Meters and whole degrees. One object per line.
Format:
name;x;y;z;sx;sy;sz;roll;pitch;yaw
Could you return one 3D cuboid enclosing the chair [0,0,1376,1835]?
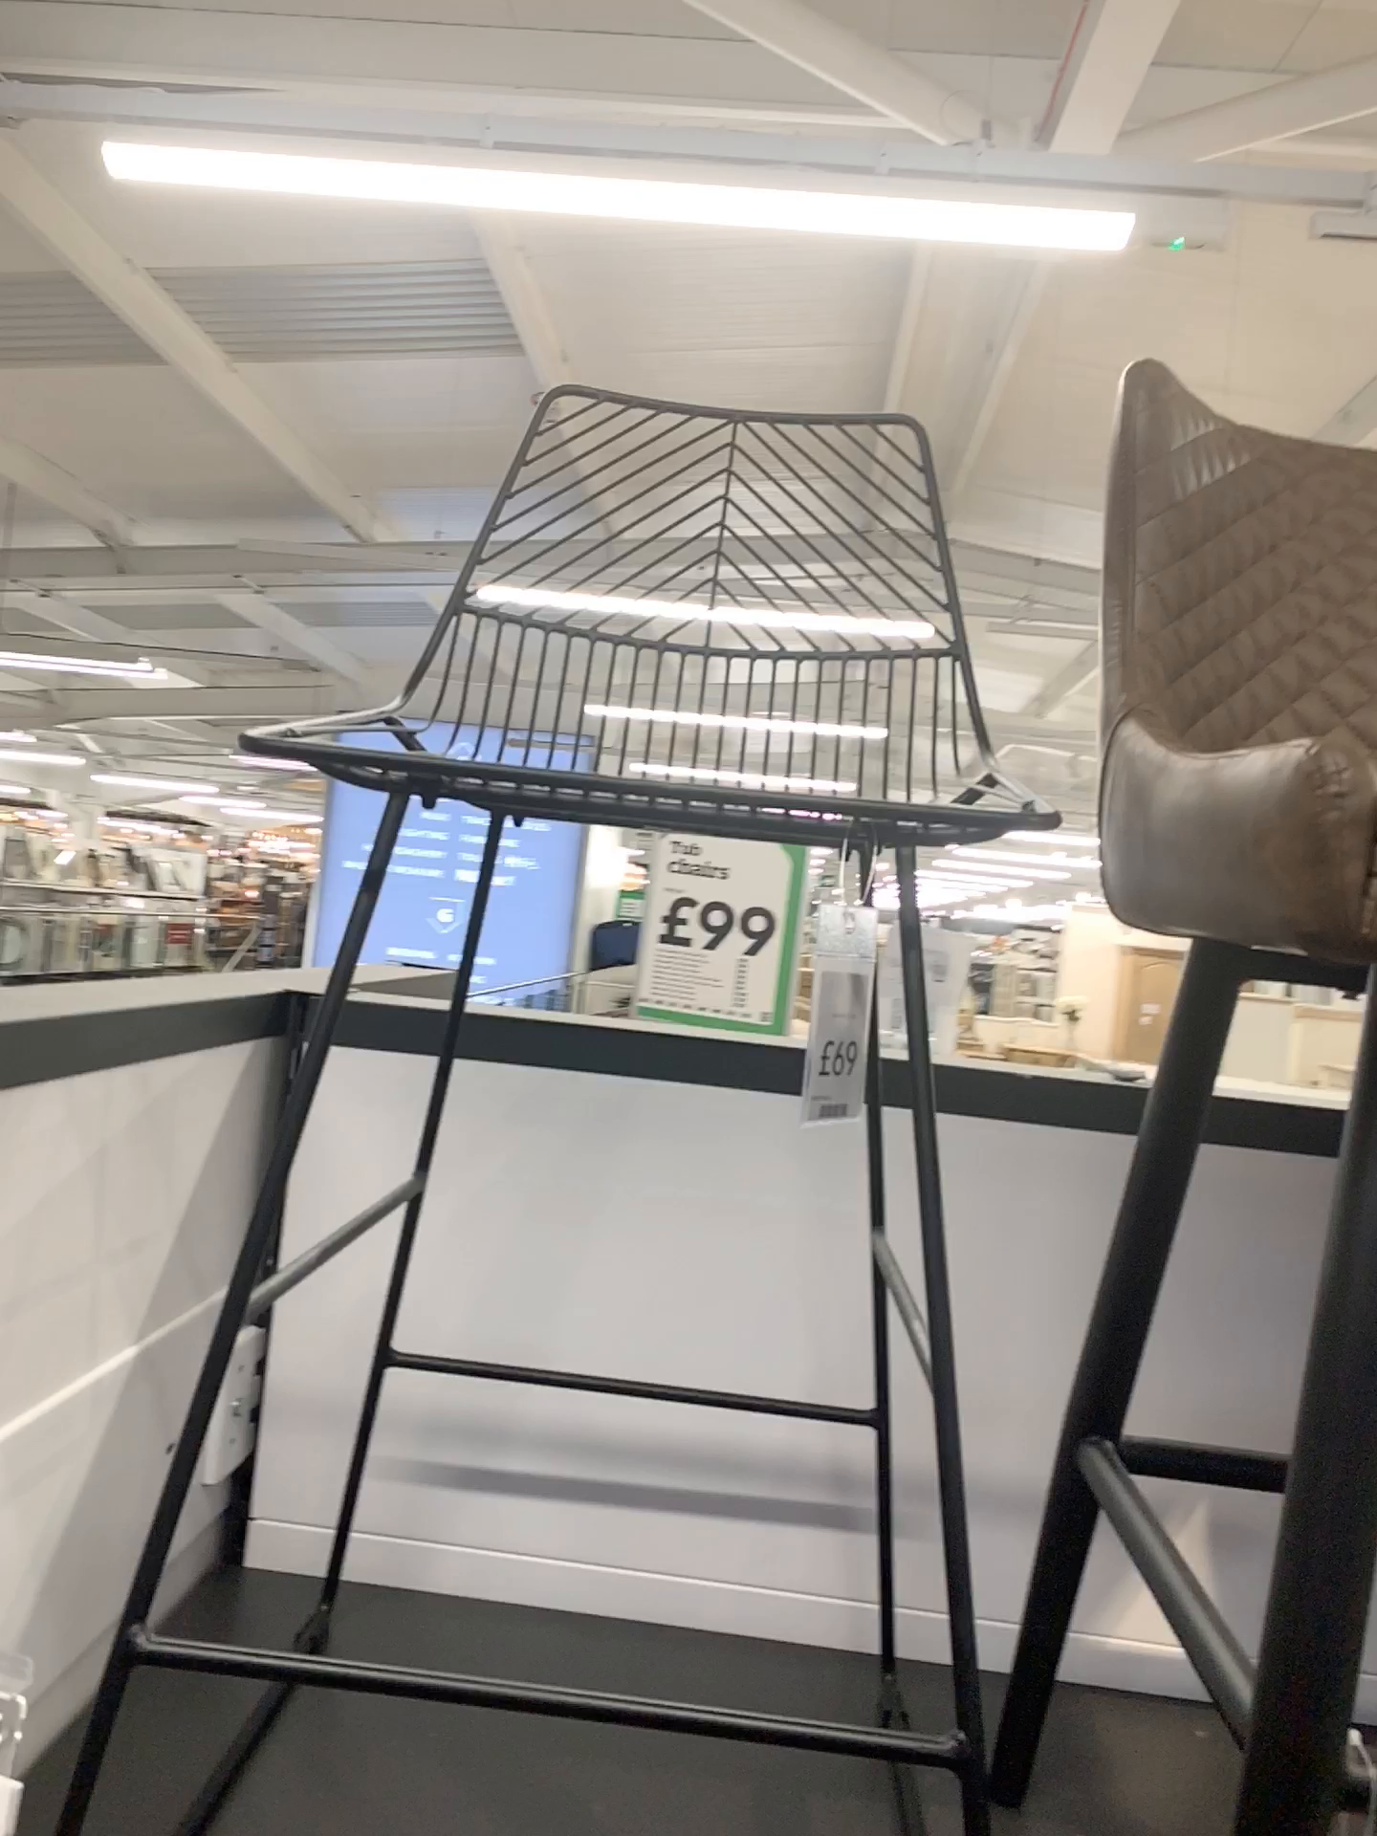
chair;0.007;0.065;0.810;0.508;0.968;0.528;6;0;3
